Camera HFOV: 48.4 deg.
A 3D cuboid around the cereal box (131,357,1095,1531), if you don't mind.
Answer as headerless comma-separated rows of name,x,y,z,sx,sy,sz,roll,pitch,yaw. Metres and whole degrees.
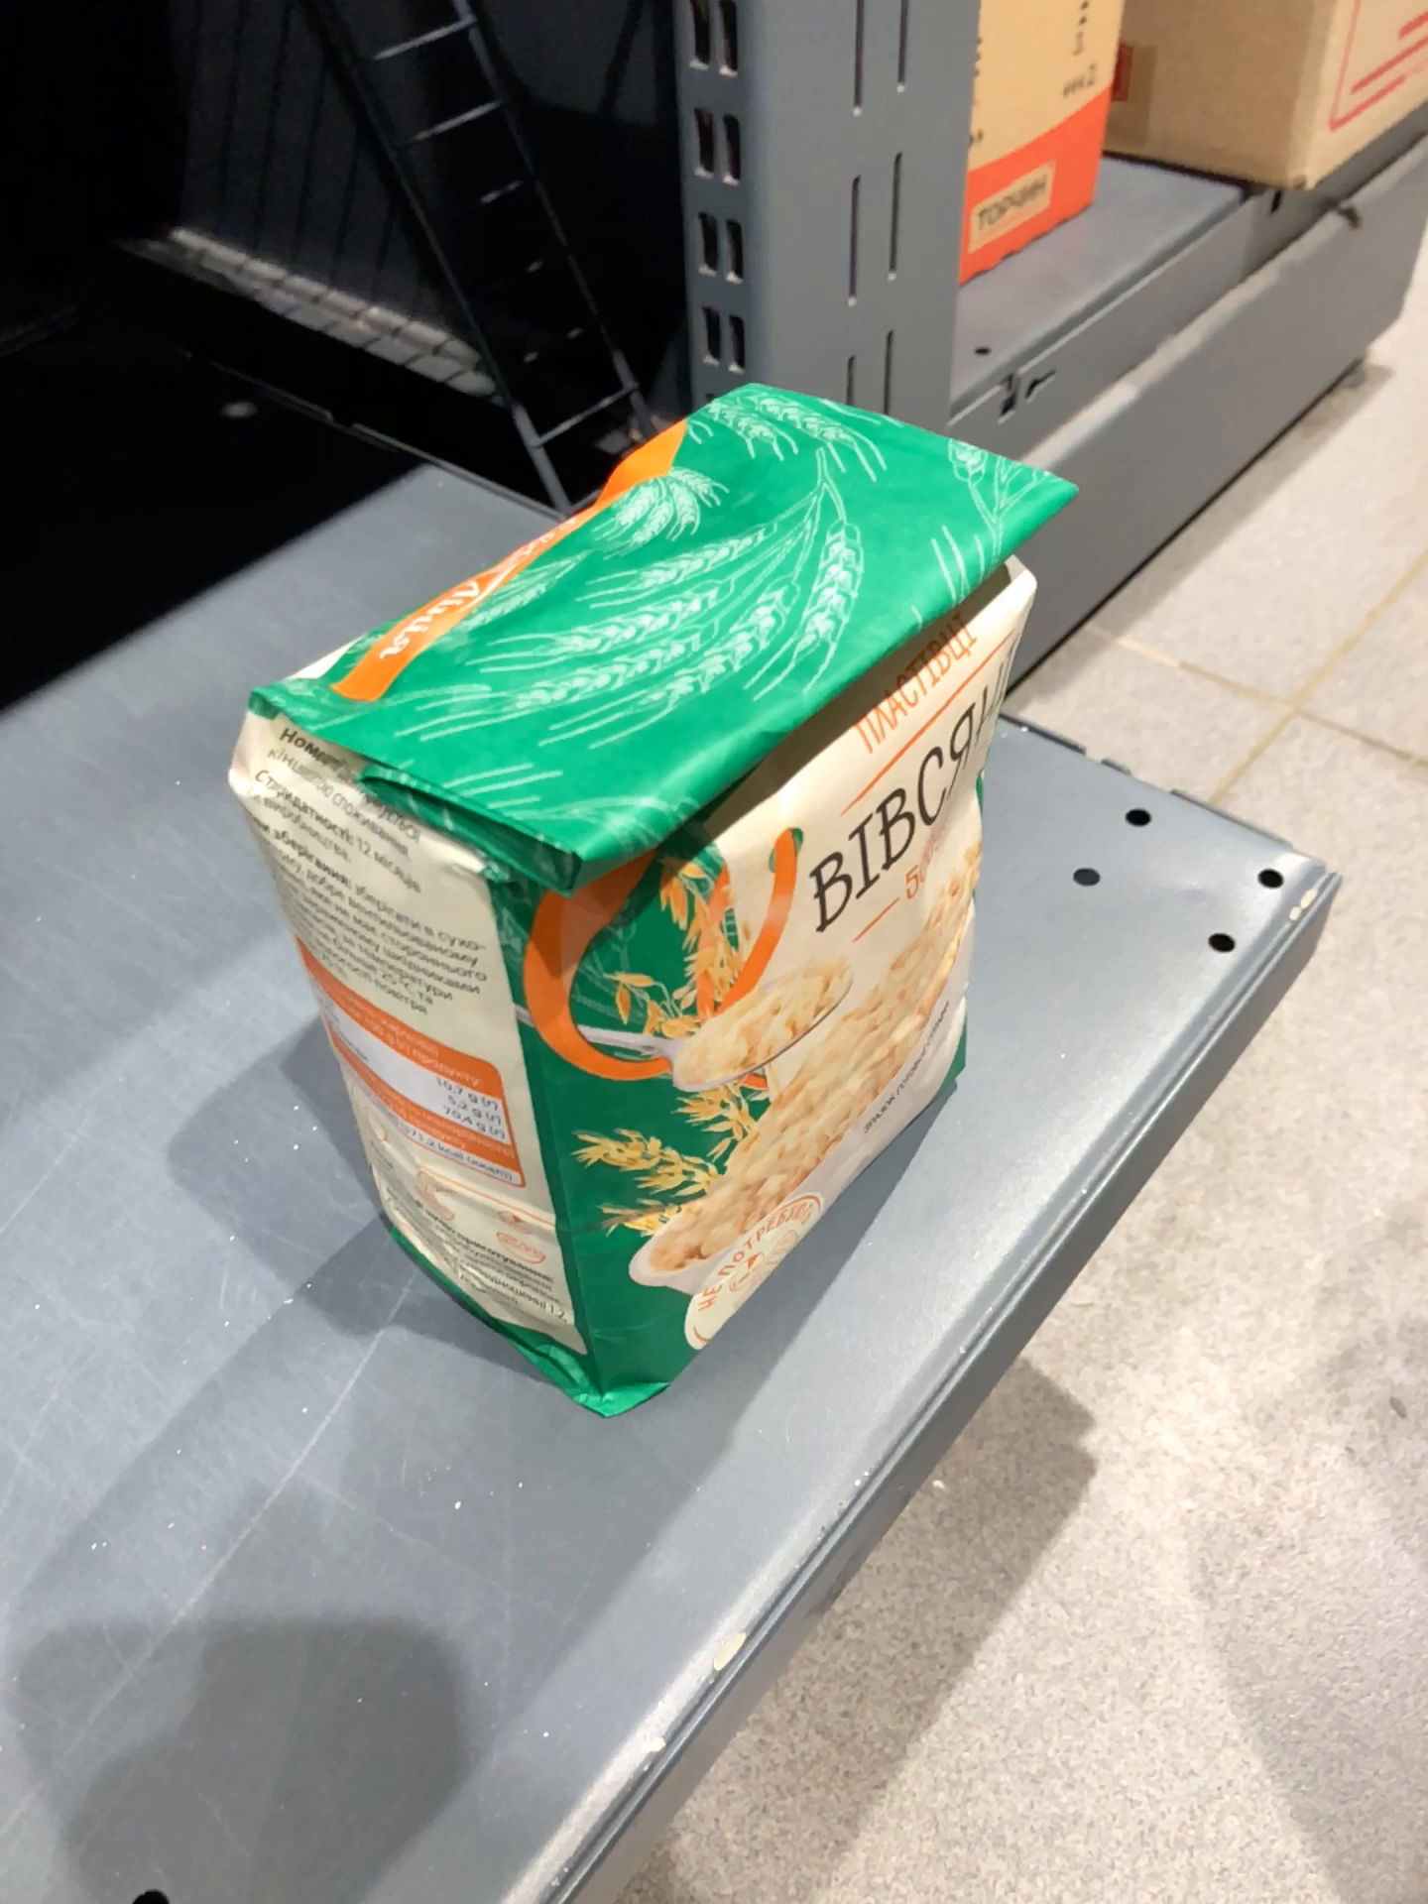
cereal box,-0.006,0.000,0.266,0.070,0.139,0.121,28,54,26
